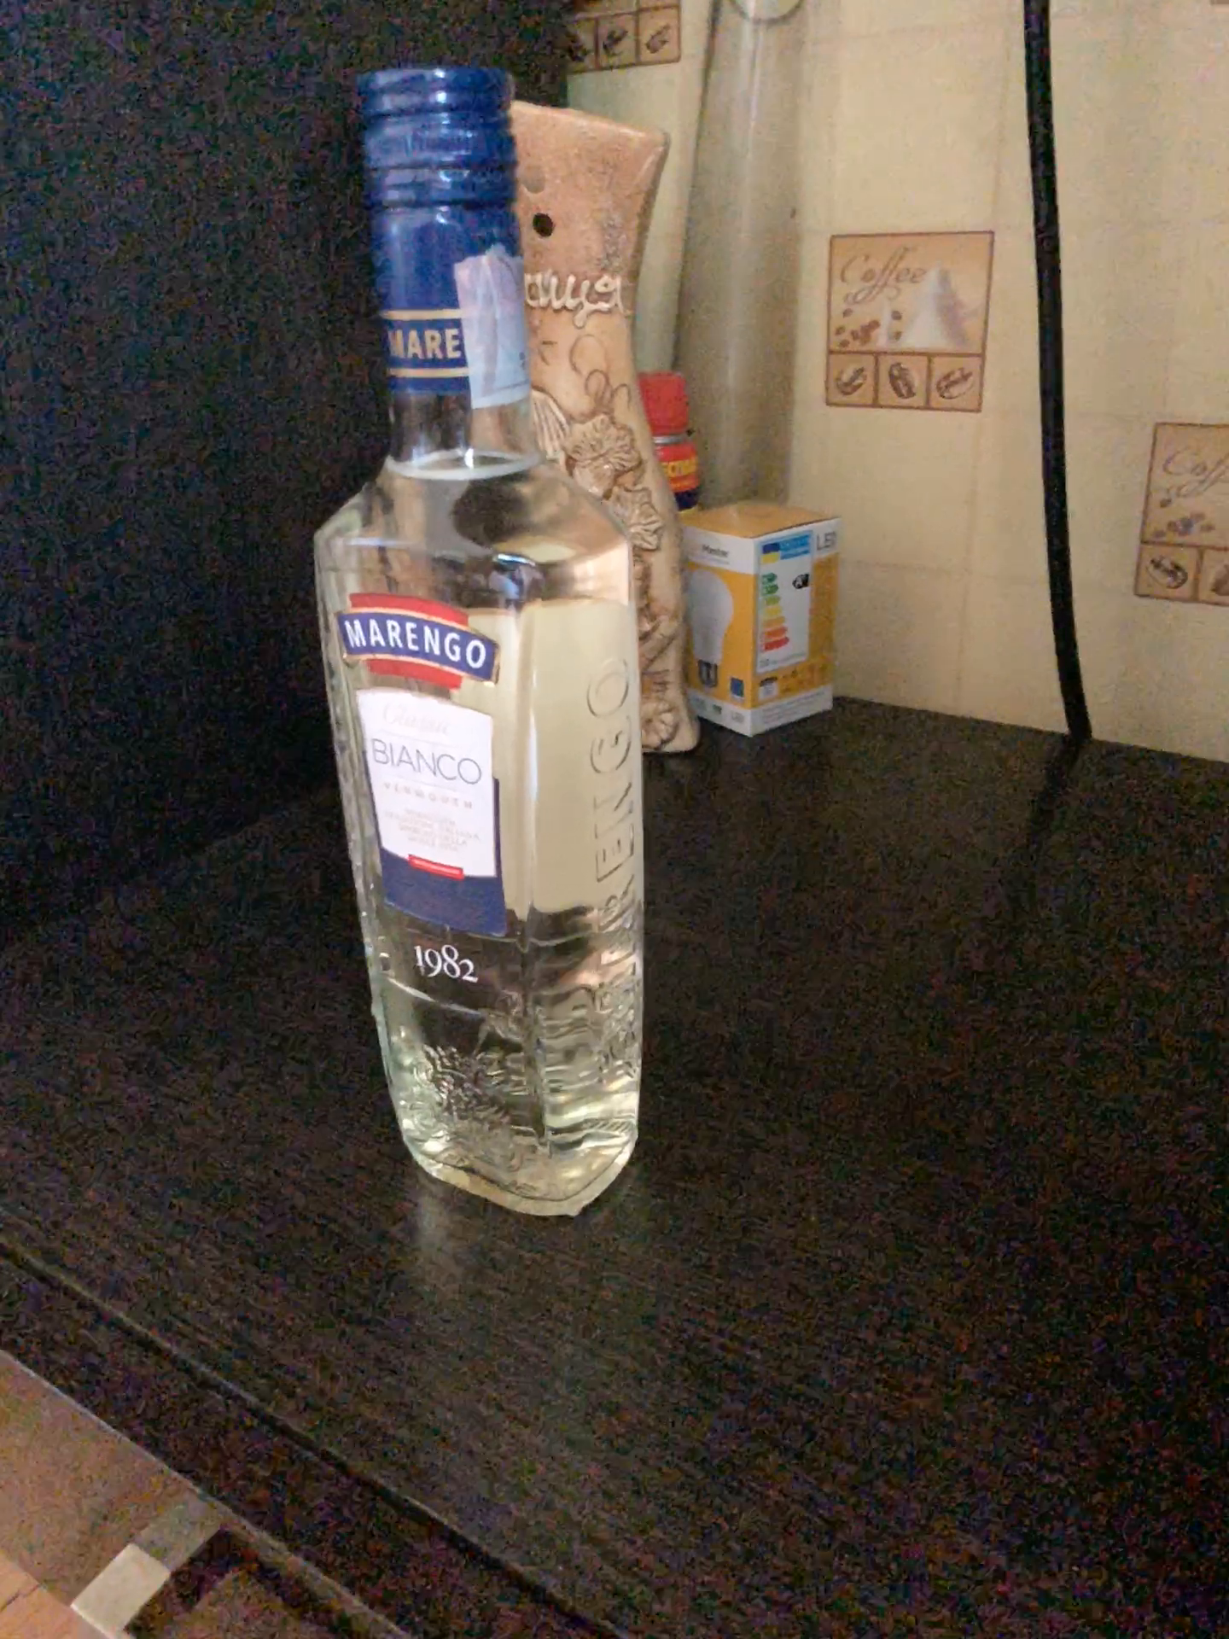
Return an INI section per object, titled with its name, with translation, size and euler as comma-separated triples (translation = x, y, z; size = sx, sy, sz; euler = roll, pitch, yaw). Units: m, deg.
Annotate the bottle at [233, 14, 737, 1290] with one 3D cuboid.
[bottle]
translation = -0.022, -0.025, 0.317
size = 0.090, 0.289, 0.050
euler = 14, 29, 30
